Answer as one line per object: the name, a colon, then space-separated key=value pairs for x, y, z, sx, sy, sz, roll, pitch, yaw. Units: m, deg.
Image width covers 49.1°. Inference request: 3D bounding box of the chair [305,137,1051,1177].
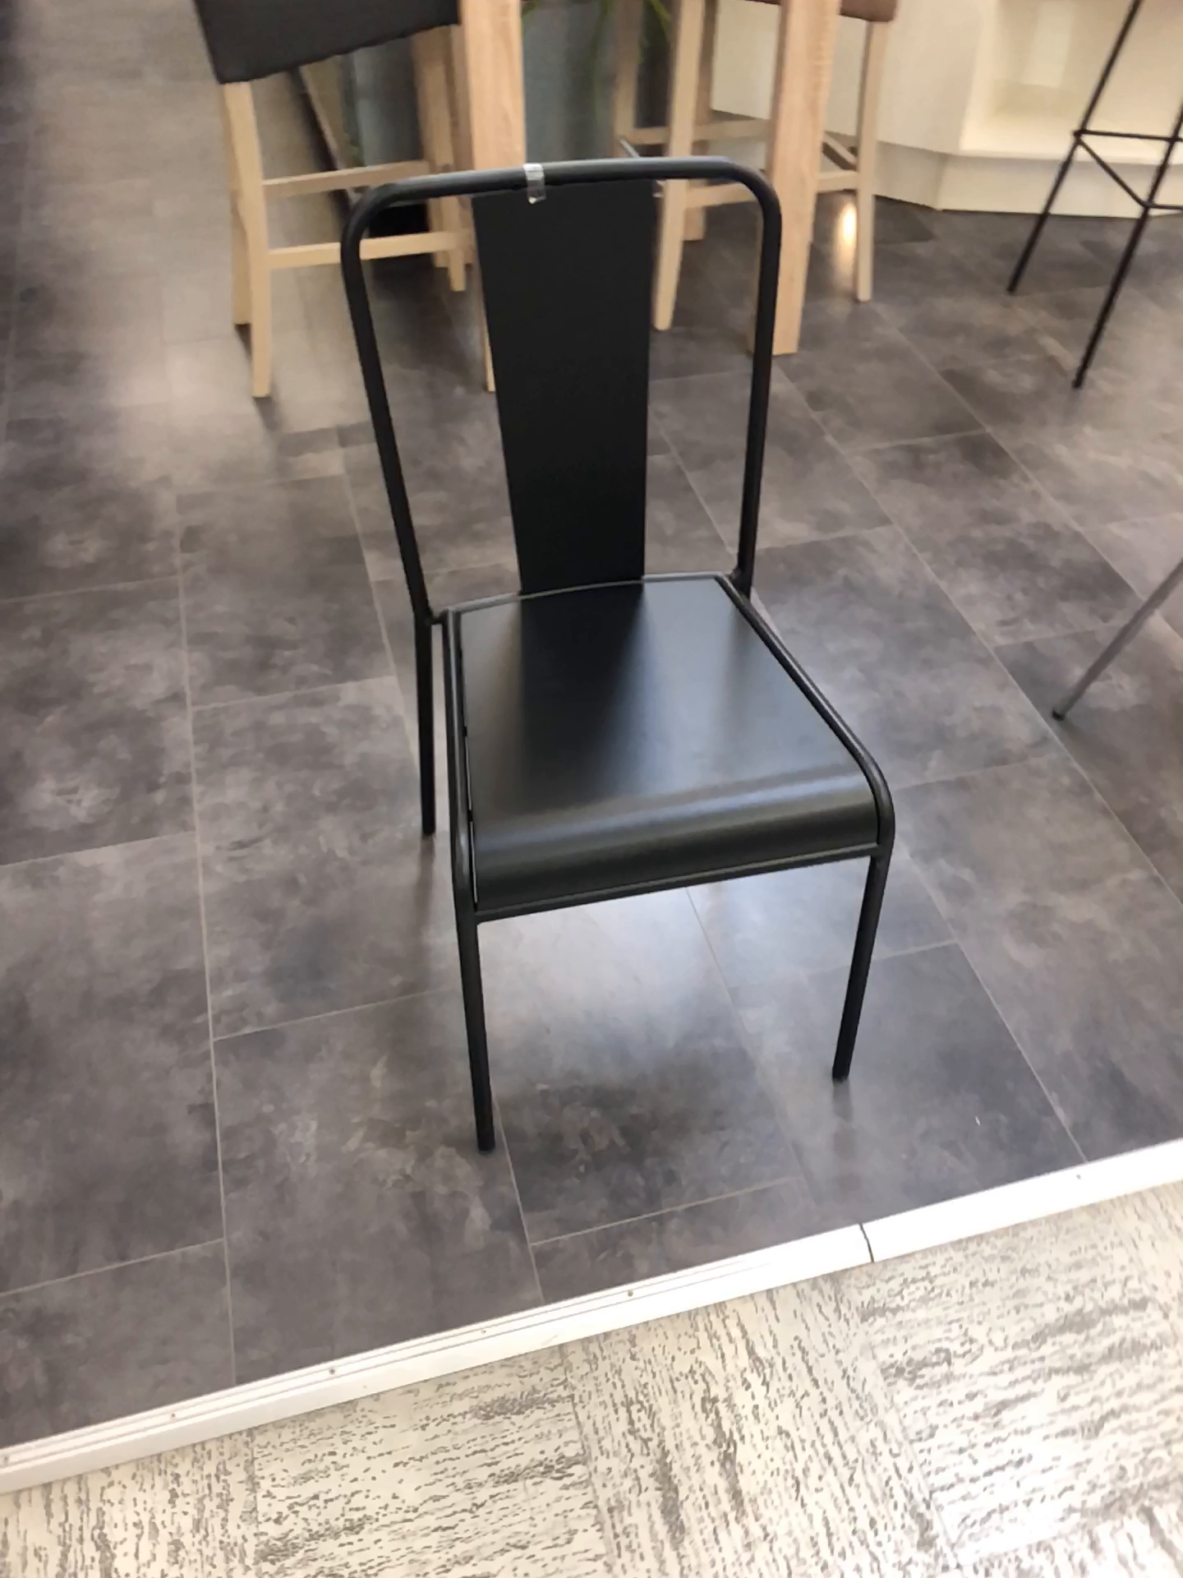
chair: x=0.022 y=-0.115 z=1.318 sx=0.441 sy=0.815 sz=0.572 roll=-11 pitch=46 yaw=-11
